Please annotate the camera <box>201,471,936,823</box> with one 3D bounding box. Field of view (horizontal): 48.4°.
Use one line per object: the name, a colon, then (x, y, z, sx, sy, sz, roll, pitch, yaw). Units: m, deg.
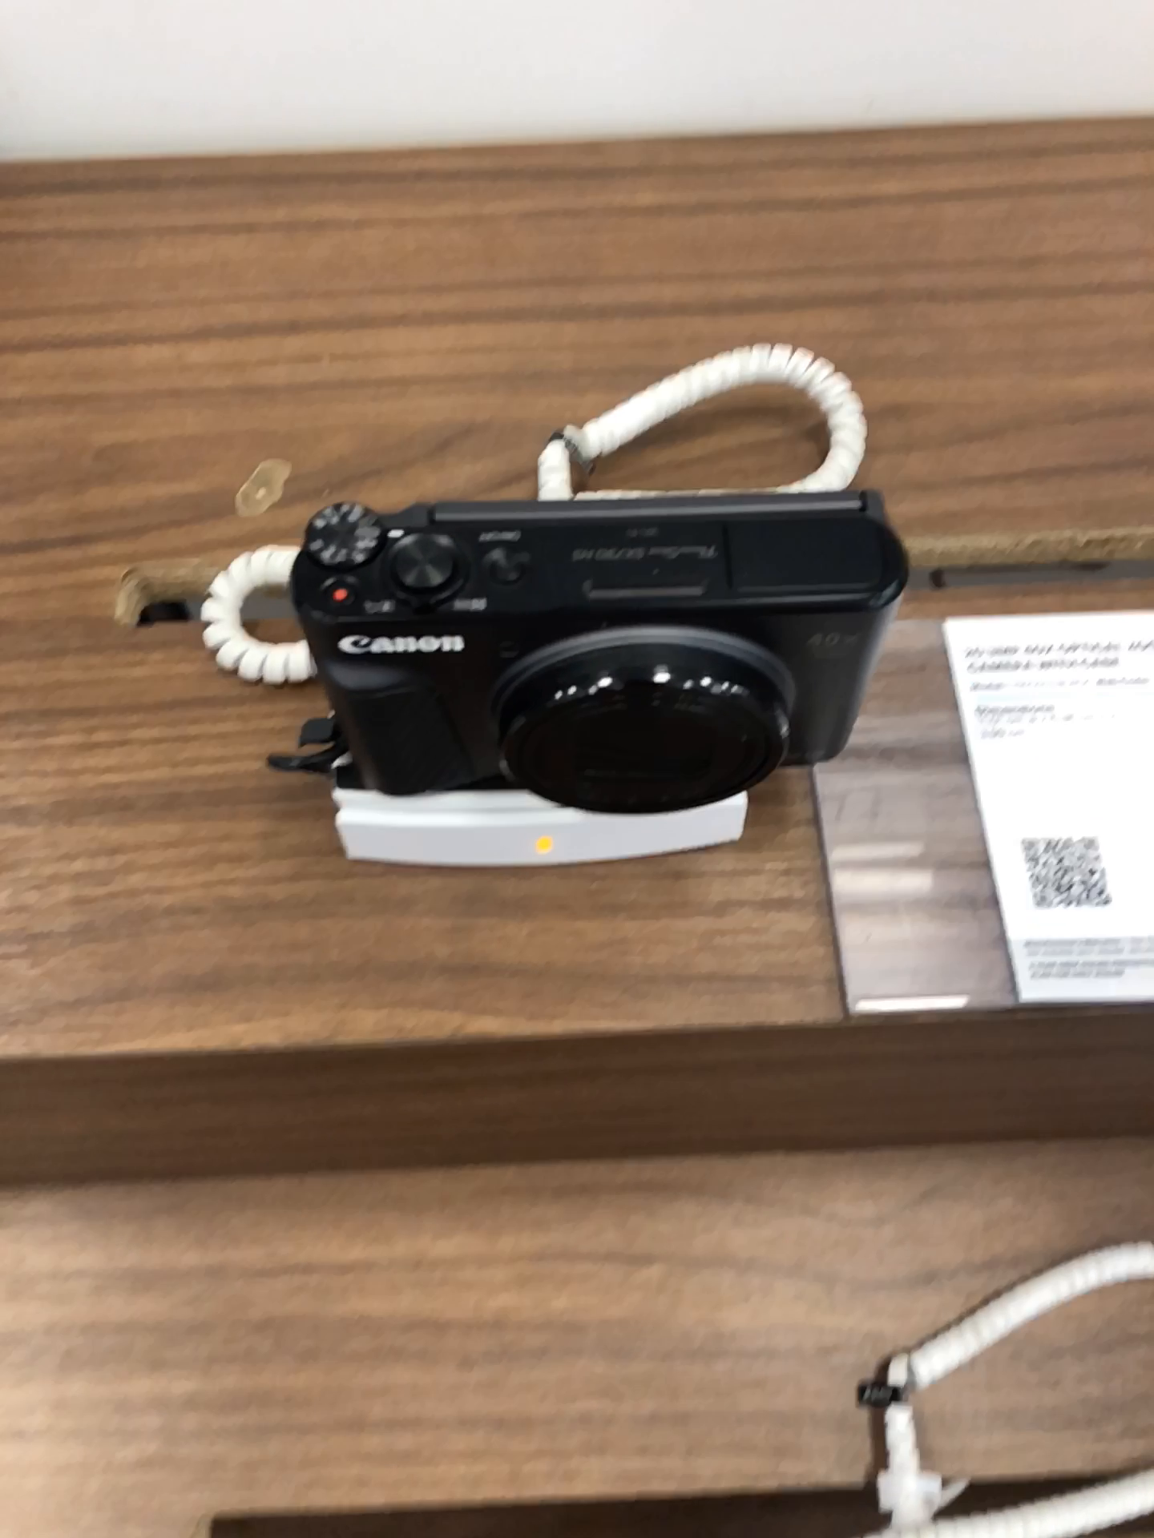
camera: (-0.001, -0.020, 0.247, 0.120, 0.070, 0.030, -2, 61, 0)
